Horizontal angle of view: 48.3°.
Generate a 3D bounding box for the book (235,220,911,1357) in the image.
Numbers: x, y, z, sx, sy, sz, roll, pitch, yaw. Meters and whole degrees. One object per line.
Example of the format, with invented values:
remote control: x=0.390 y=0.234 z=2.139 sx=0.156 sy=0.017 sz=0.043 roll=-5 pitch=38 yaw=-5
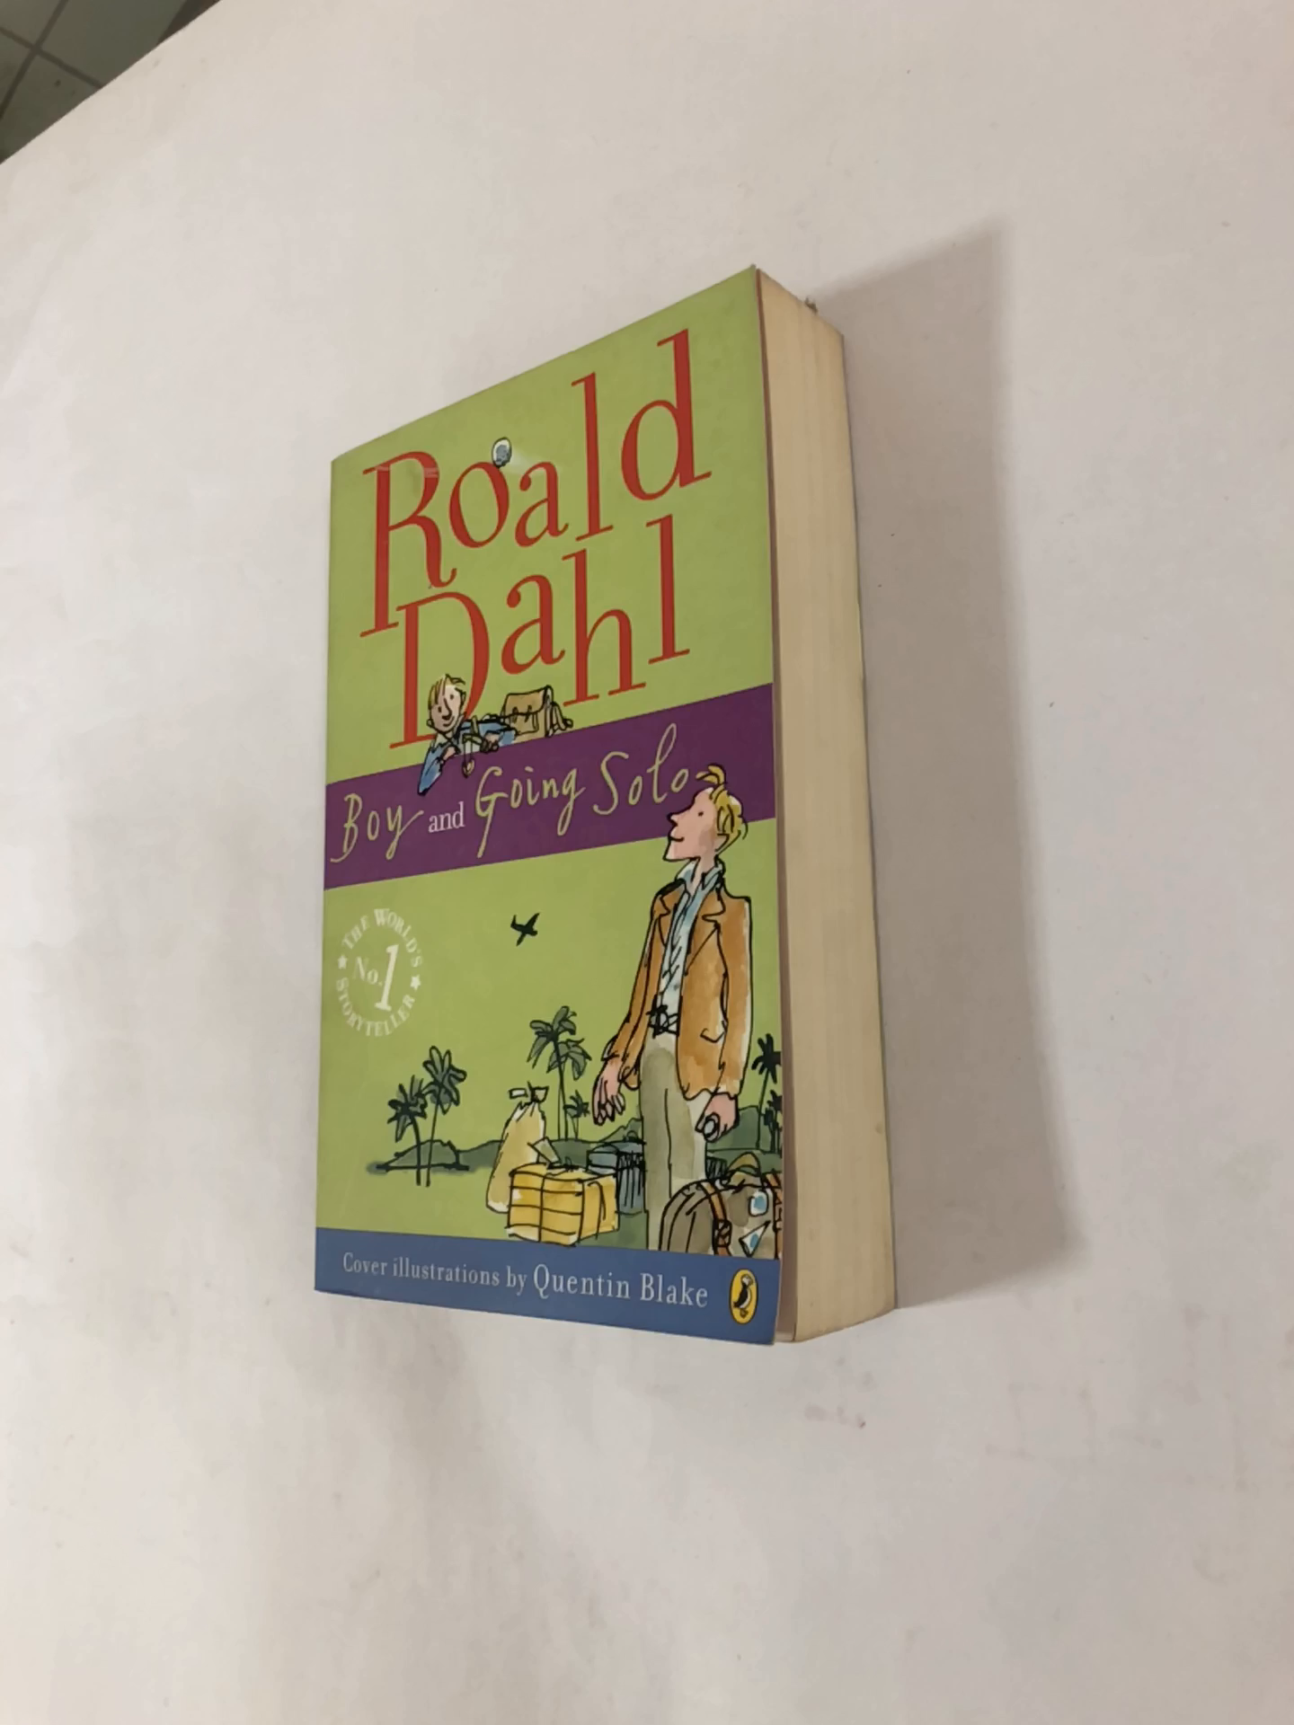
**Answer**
book: x=-0.024 y=-0.008 z=0.295 sx=0.141 sy=0.036 sz=0.193 roll=-9 pitch=78 yaw=37
